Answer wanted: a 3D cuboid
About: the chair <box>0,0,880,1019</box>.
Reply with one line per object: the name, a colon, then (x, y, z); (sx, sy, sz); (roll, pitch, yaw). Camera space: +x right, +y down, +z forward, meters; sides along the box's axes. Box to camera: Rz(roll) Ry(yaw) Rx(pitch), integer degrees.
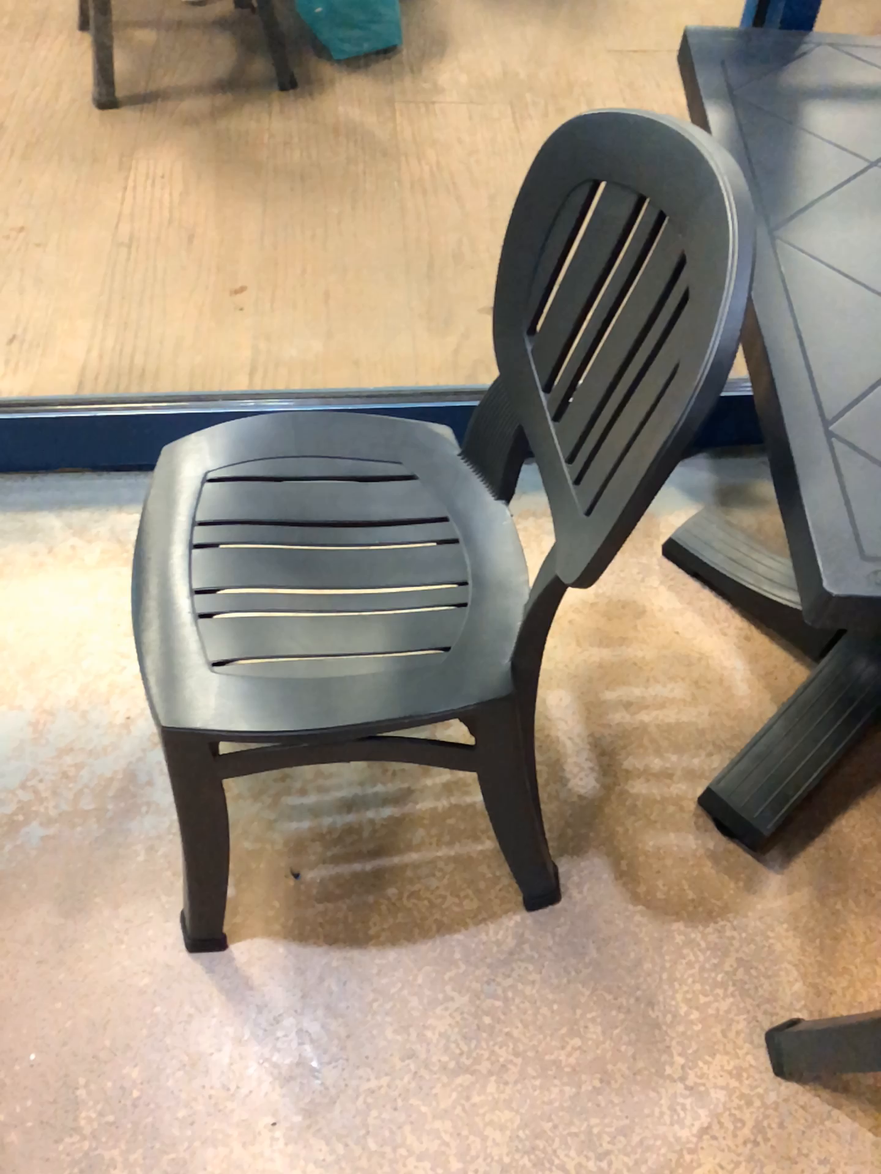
chair: (-0.114, -0.020, 0.838); (0.550, 0.736, 0.503); (-7, 54, -7)
